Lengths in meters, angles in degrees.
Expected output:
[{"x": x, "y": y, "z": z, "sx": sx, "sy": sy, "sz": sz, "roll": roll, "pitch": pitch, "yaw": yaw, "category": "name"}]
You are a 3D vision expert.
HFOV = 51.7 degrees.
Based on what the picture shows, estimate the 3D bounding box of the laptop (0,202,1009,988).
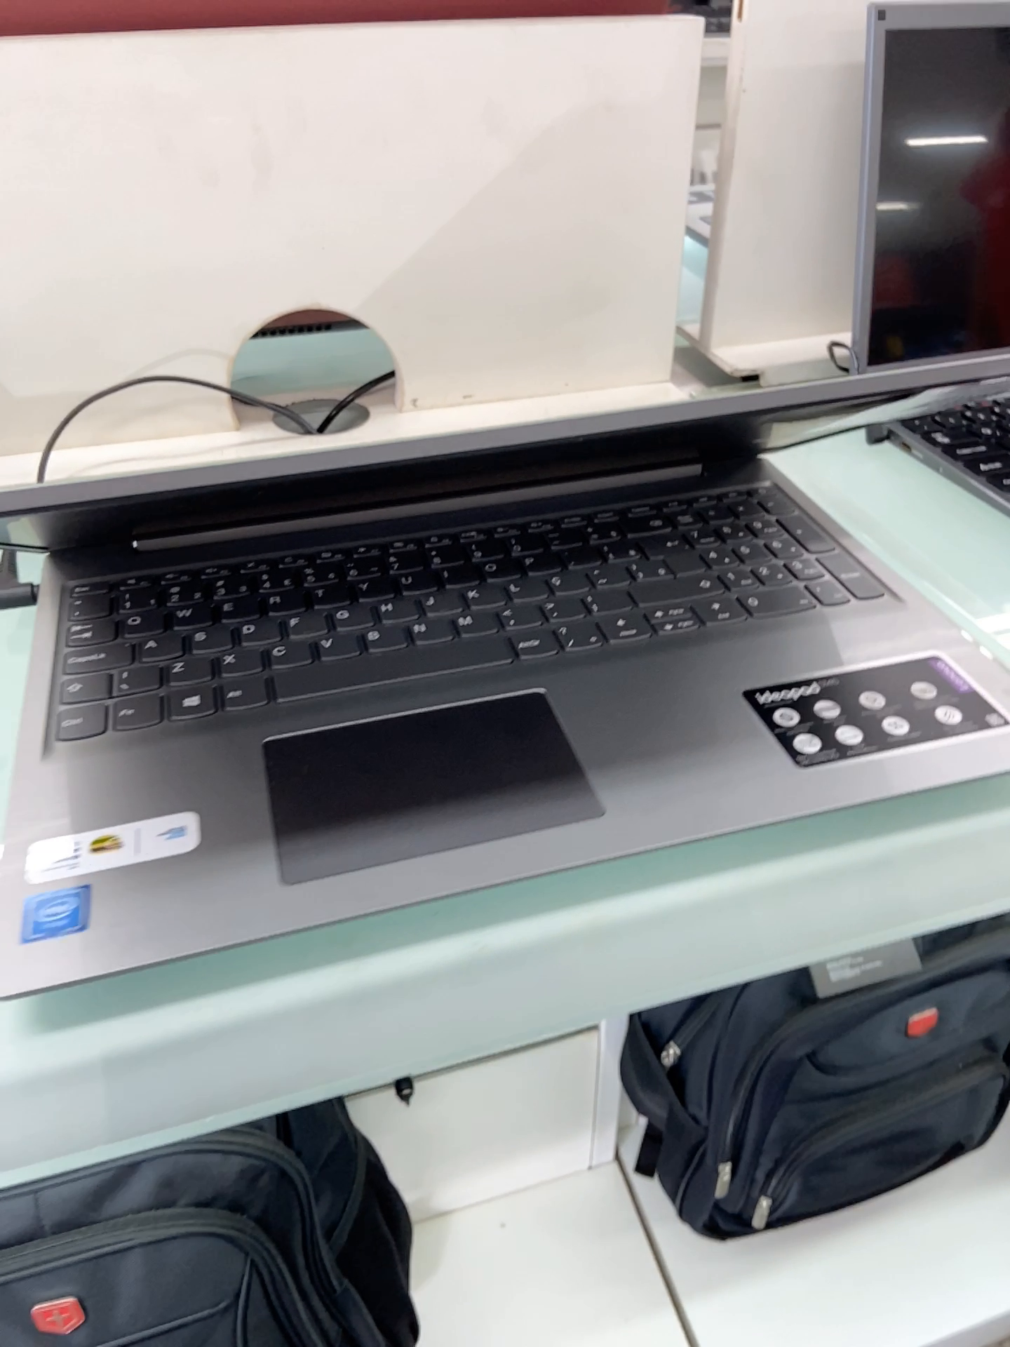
[{"x": -0.002, "y": -0.067, "z": 0.387, "sx": 0.364, "sy": 0.127, "sz": 0.251, "roll": -10, "pitch": 37, "yaw": -13, "category": "laptop"}]
